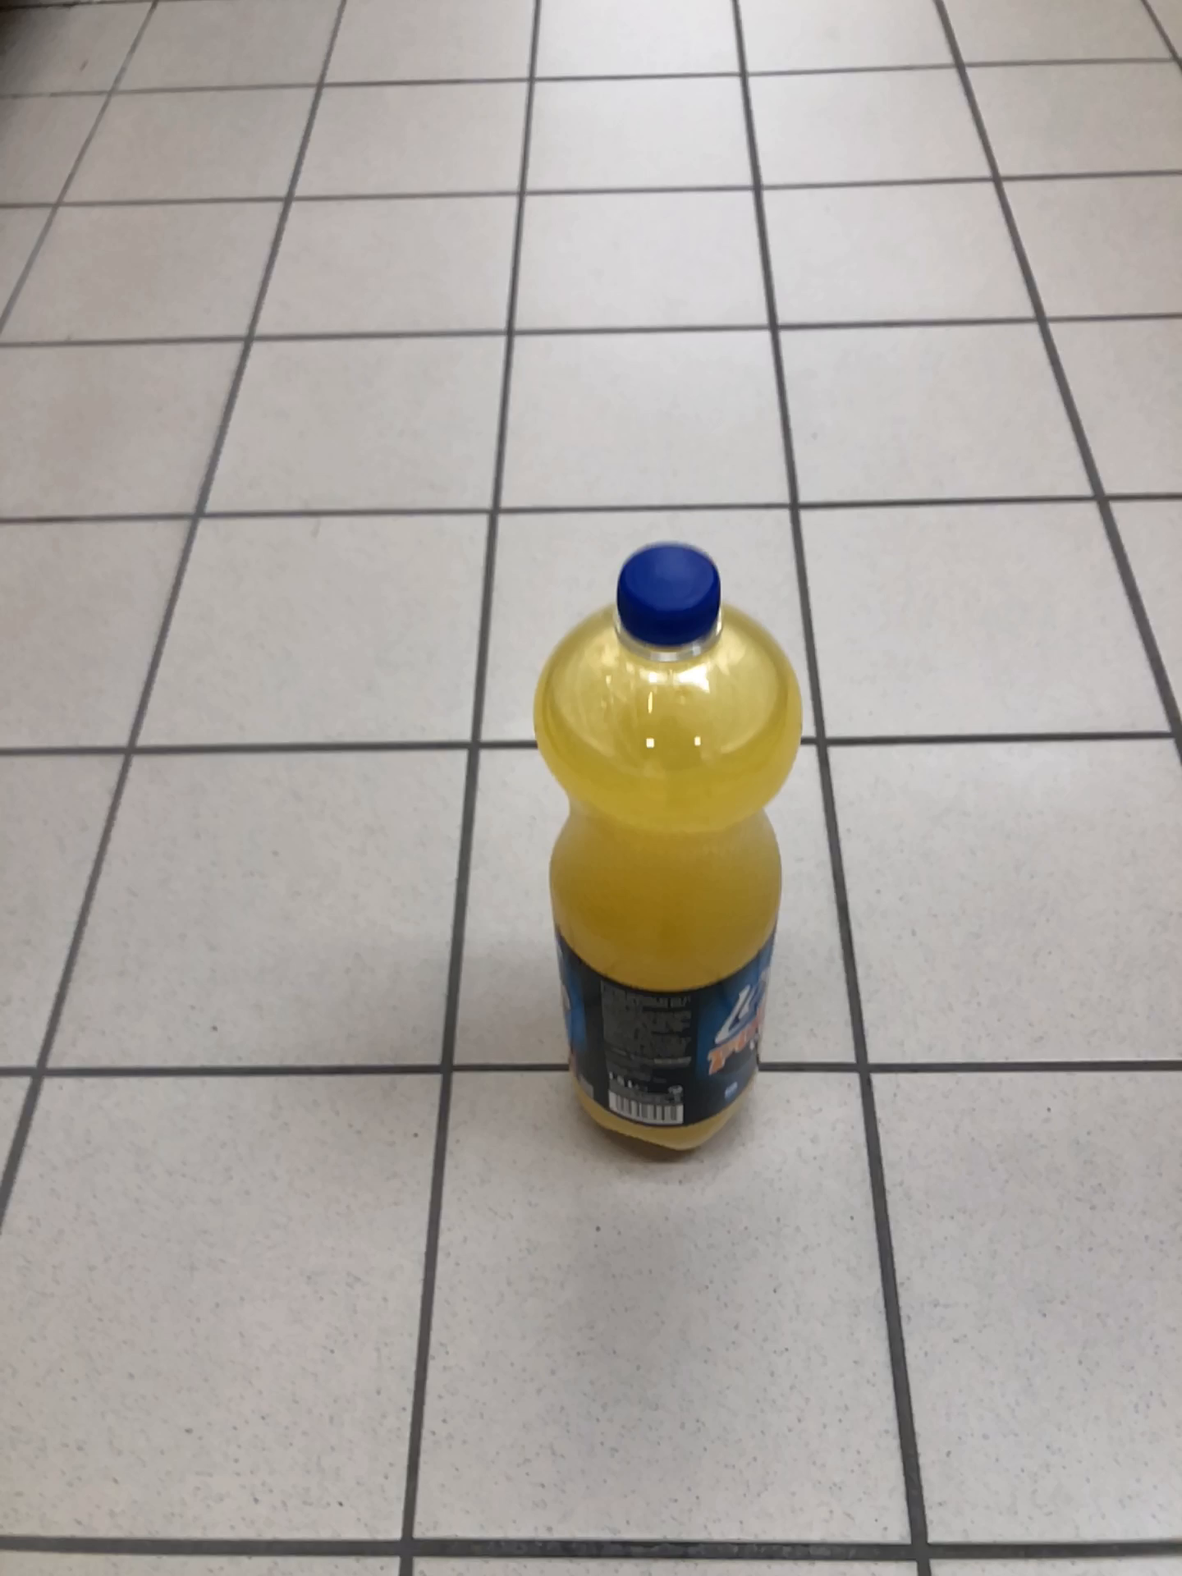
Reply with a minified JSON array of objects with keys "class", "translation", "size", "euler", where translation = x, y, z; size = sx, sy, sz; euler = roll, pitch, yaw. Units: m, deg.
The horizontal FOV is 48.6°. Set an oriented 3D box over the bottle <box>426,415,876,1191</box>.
[{"class":"bottle","translation":[0.026,0.031,0.493],"size":[0.100,0.318,0.101],"euler":[-1,52,2]}]
